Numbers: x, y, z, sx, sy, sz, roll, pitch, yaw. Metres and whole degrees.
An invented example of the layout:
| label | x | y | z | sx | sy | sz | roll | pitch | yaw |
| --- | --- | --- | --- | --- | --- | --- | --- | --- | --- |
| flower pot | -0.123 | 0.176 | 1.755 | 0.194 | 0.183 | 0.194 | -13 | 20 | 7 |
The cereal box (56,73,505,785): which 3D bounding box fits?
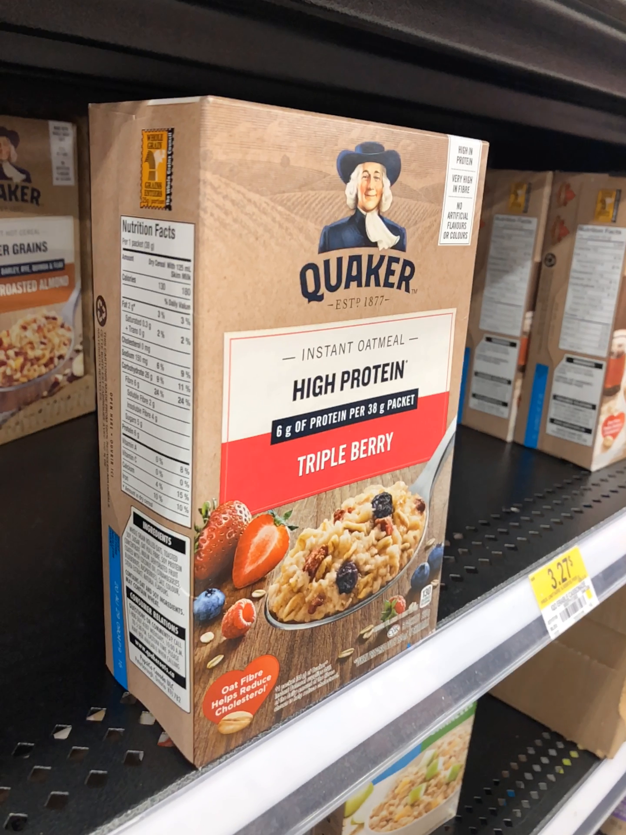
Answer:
| label | x | y | z | sx | sy | sz | roll | pitch | yaw |
| --- | --- | --- | --- | --- | --- | --- | --- | --- | --- |
| cereal box | -0.009 | -0.003 | 0.253 | 0.130 | 0.199 | 0.070 | -13 | 22 | -41 |
